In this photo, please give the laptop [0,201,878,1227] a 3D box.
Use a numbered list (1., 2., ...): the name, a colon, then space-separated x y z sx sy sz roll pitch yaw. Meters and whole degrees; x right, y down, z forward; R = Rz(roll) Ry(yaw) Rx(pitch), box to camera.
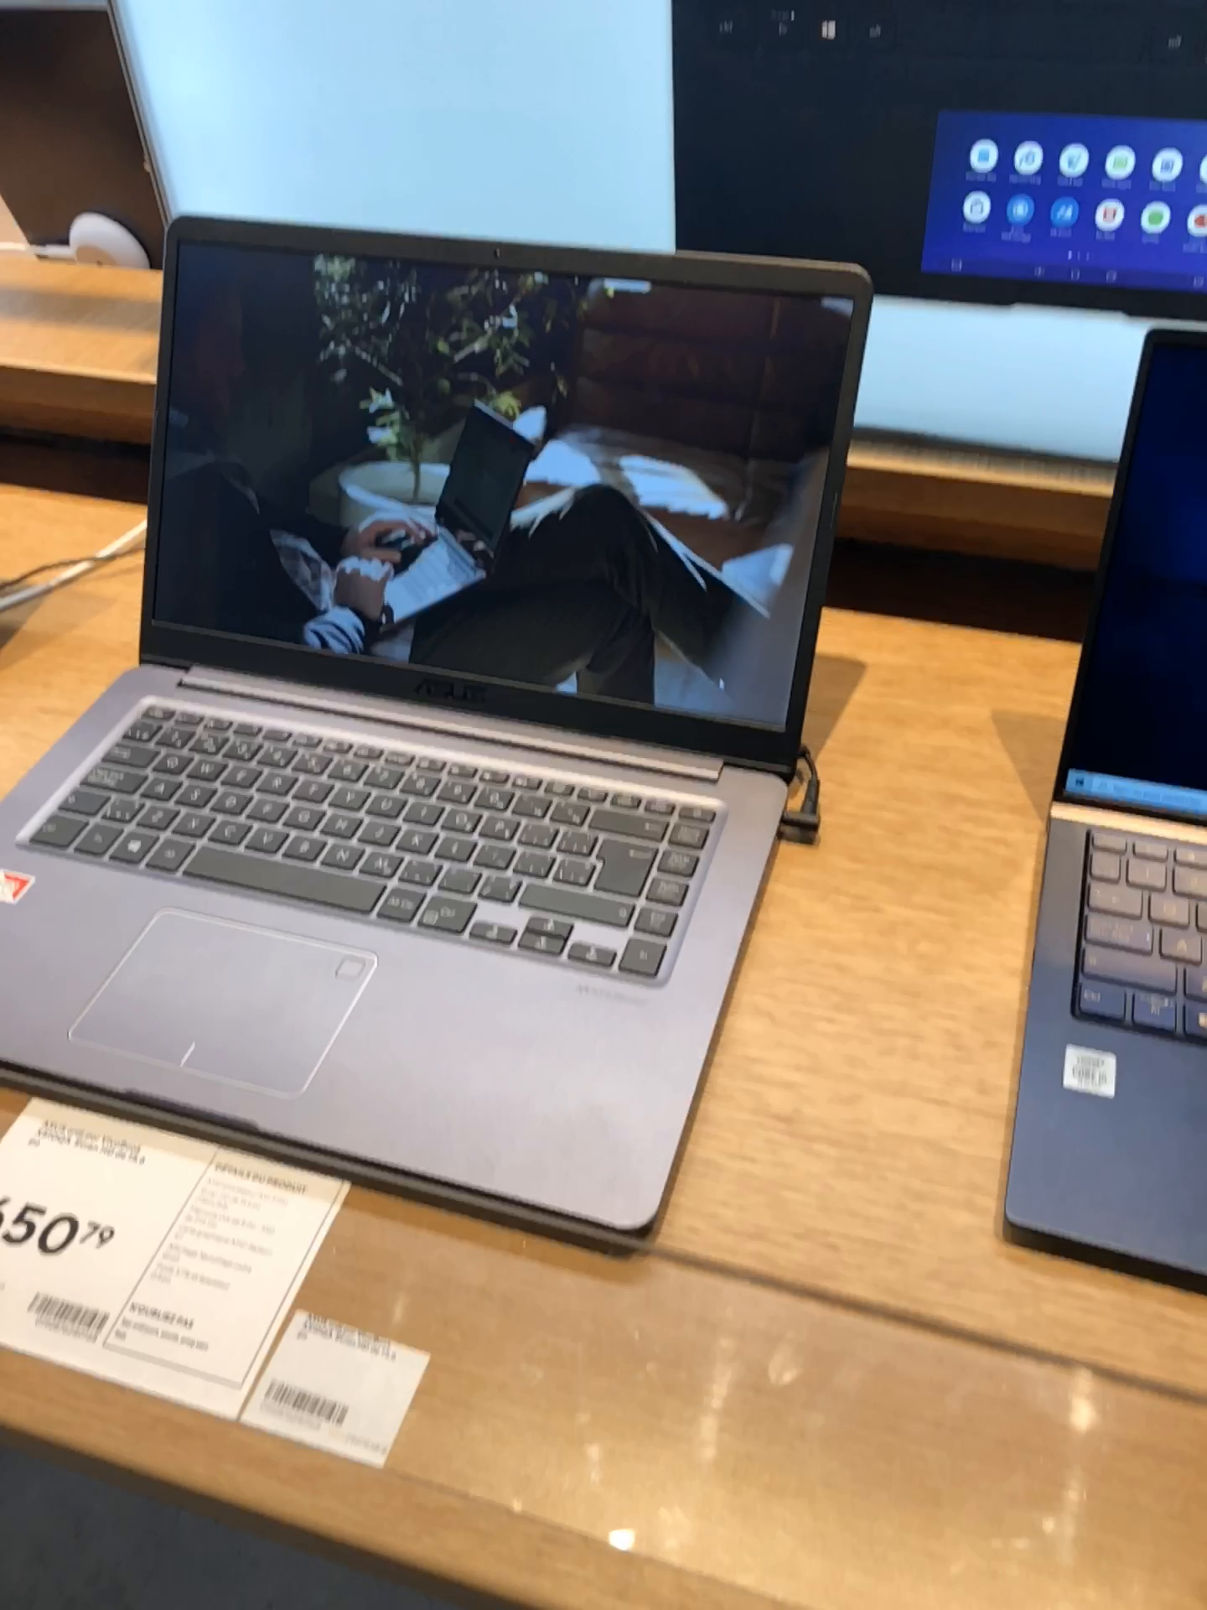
1. laptop: -0.098 -0.084 0.573 0.353 0.177 0.392 11 45 14
